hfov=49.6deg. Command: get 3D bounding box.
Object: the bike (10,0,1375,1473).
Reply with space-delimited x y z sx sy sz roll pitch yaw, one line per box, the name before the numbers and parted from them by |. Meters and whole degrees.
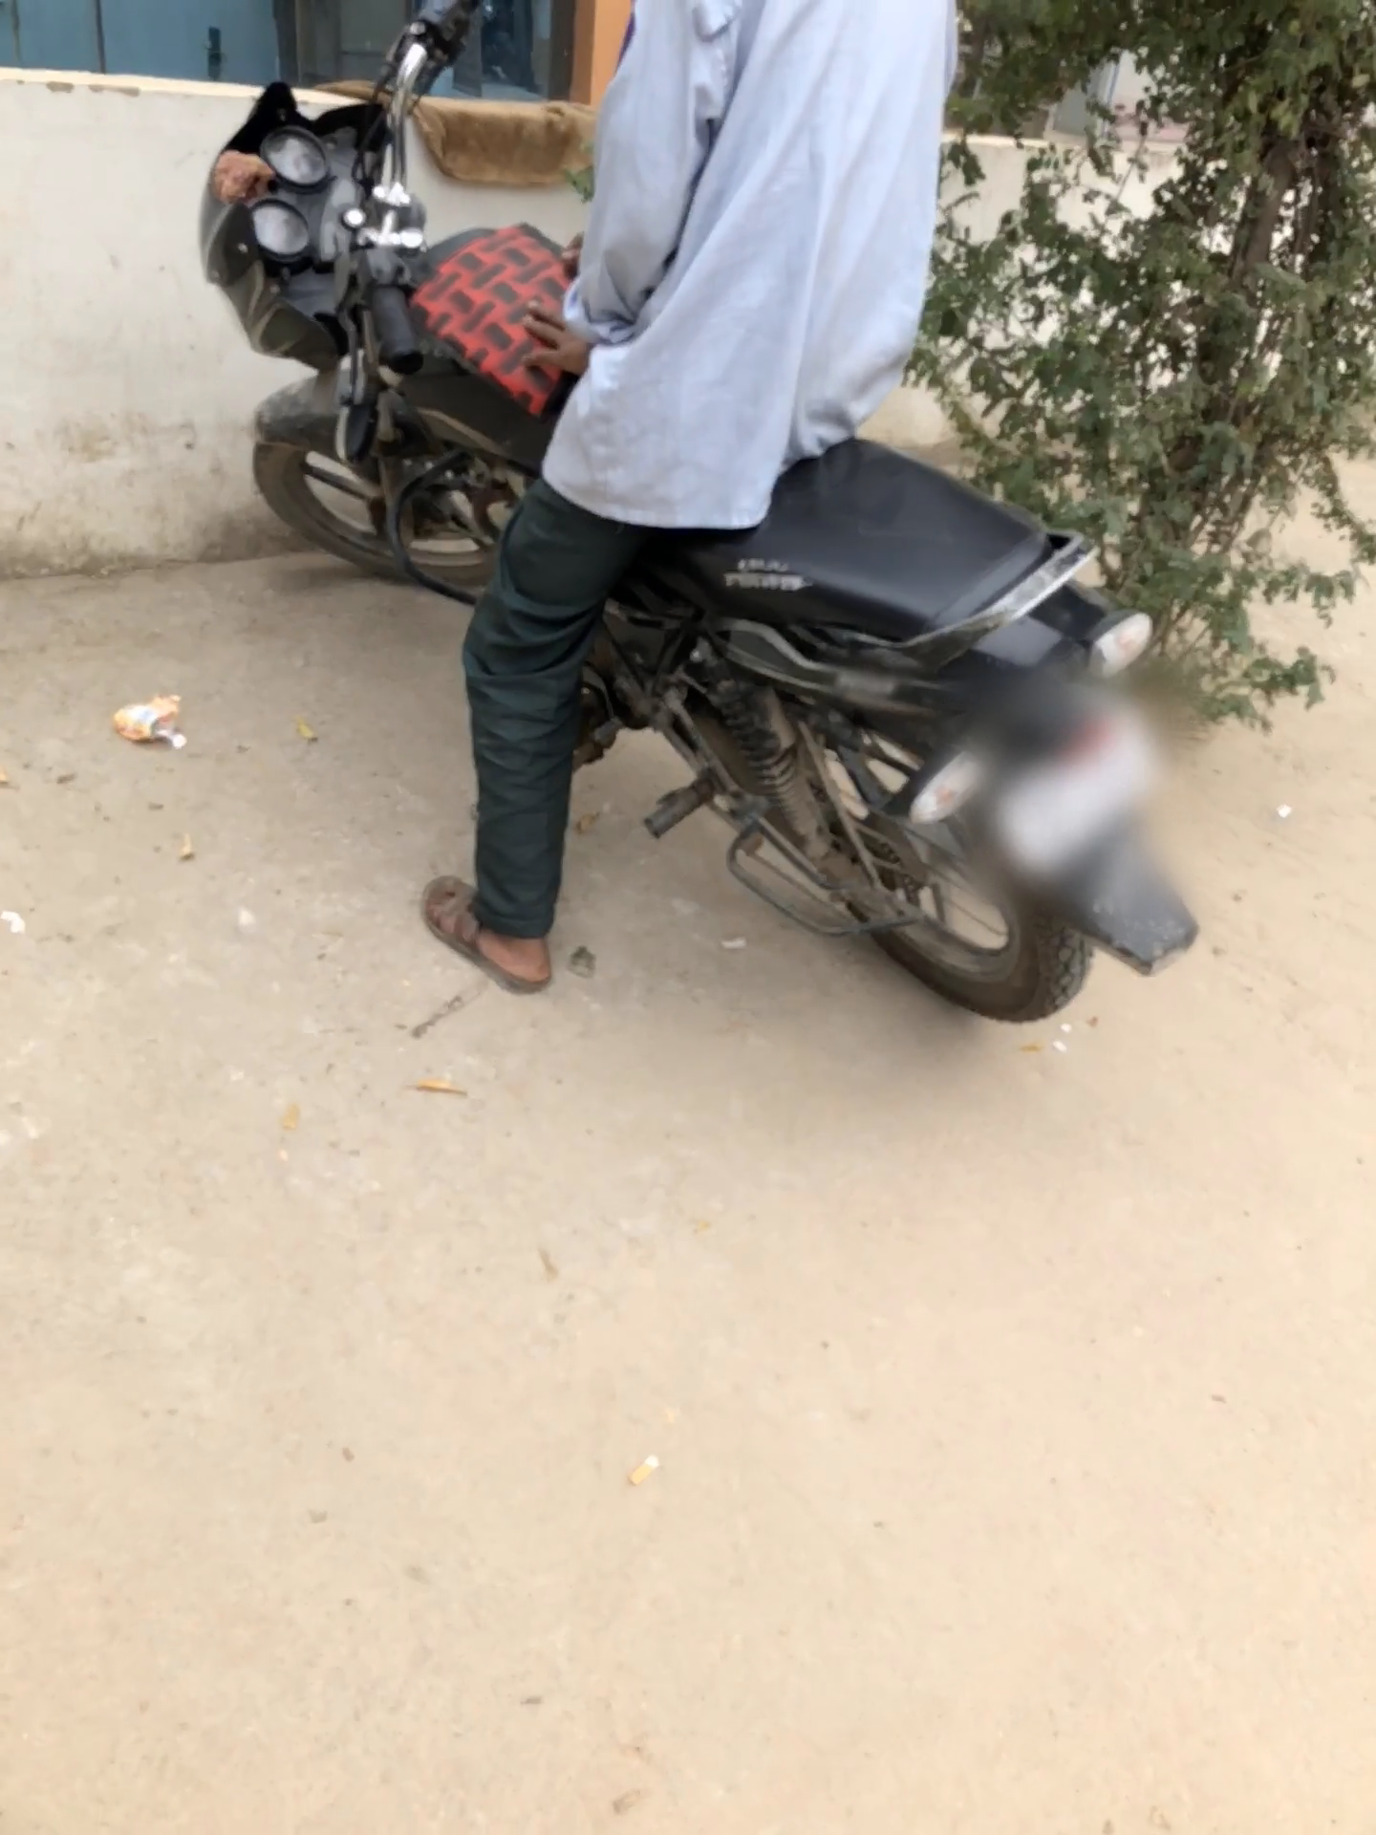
bike | -0.118 -0.465 1.951 0.789 1.332 1.499 -22 43 -39
